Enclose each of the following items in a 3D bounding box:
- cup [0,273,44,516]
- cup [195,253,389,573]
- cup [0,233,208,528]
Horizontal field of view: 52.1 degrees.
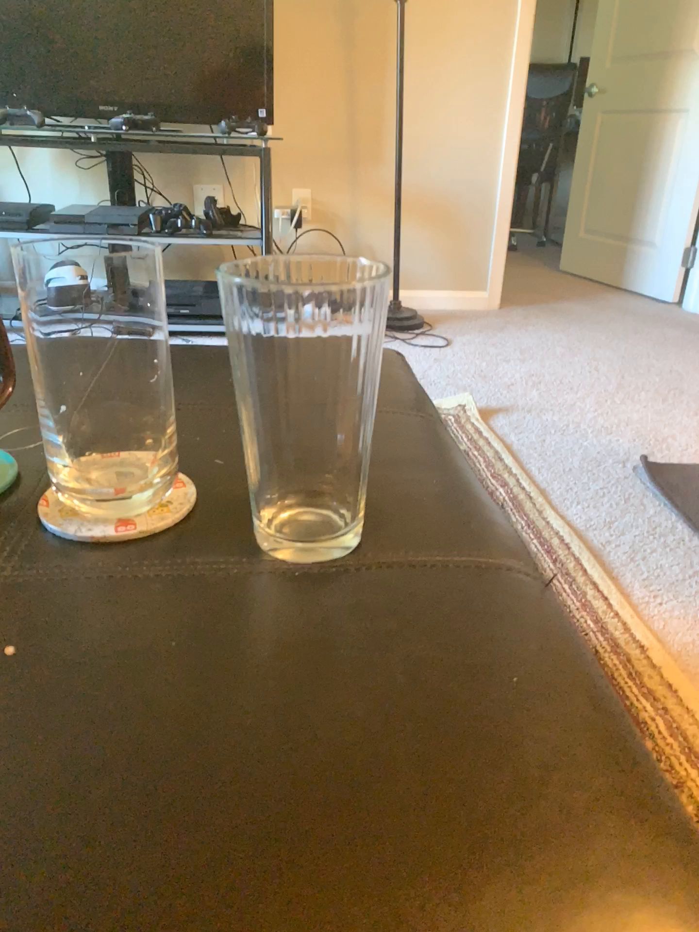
[{"bbox_3d":[-0.243,-0.045,0.394,0.090,0.099,0.090,2,25,-1],"label":"cup"},{"bbox_3d":[-0.025,-0.029,0.367,0.080,0.139,0.080,2,25,-1],"label":"cup"},{"bbox_3d":[-0.130,-0.048,0.378,0.080,0.129,0.080,2,25,-1],"label":"cup"}]
